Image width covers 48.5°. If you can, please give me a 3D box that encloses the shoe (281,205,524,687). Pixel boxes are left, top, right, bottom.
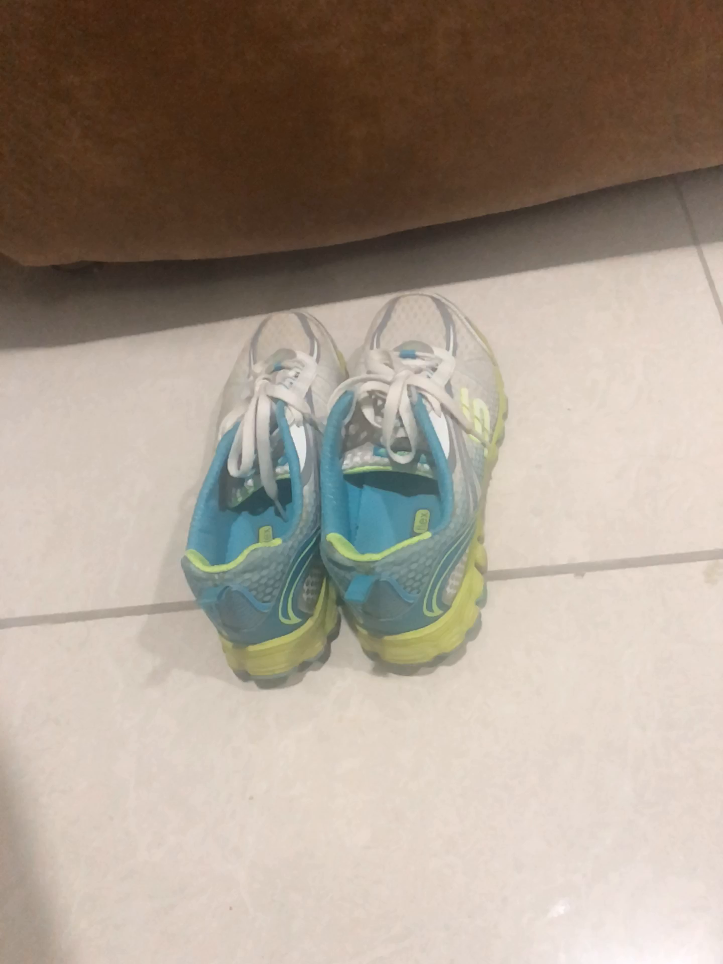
[{"bbox_3d":[0.038,-0.034,0.511,0.110,0.100,0.300,-5,53,14],"label":"shoe"}]

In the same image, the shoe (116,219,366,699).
[{"bbox_3d":[-0.059,-0.027,0.518,0.100,0.100,0.301,-8,52,12],"label":"shoe"}]
